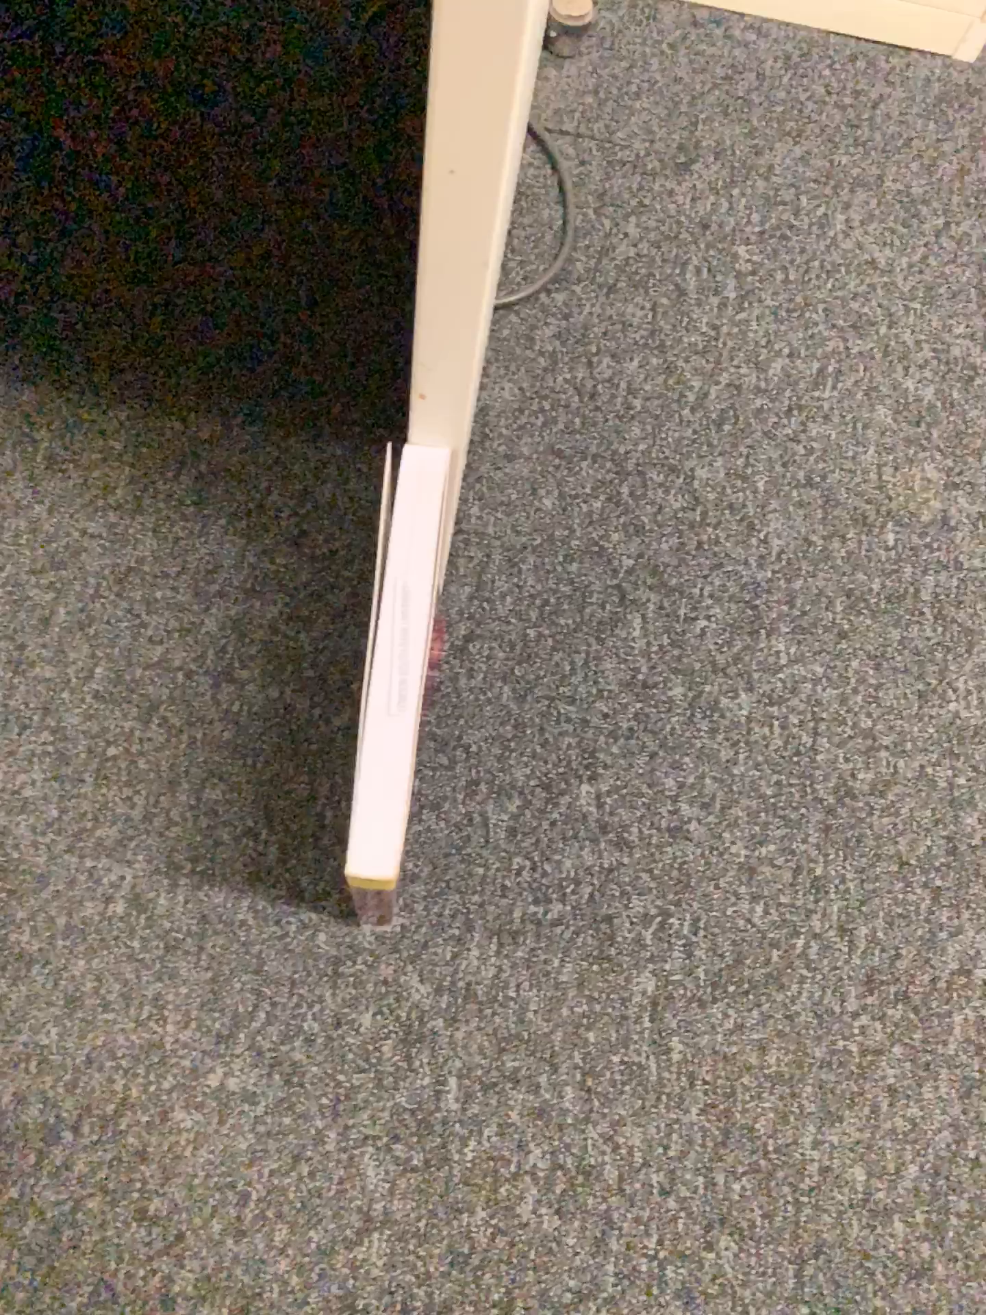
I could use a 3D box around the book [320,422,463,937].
[{"bbox_3d":[-0.048,0.030,0.515,0.036,0.229,0.201,6,70,-3],"label":"book"}]
